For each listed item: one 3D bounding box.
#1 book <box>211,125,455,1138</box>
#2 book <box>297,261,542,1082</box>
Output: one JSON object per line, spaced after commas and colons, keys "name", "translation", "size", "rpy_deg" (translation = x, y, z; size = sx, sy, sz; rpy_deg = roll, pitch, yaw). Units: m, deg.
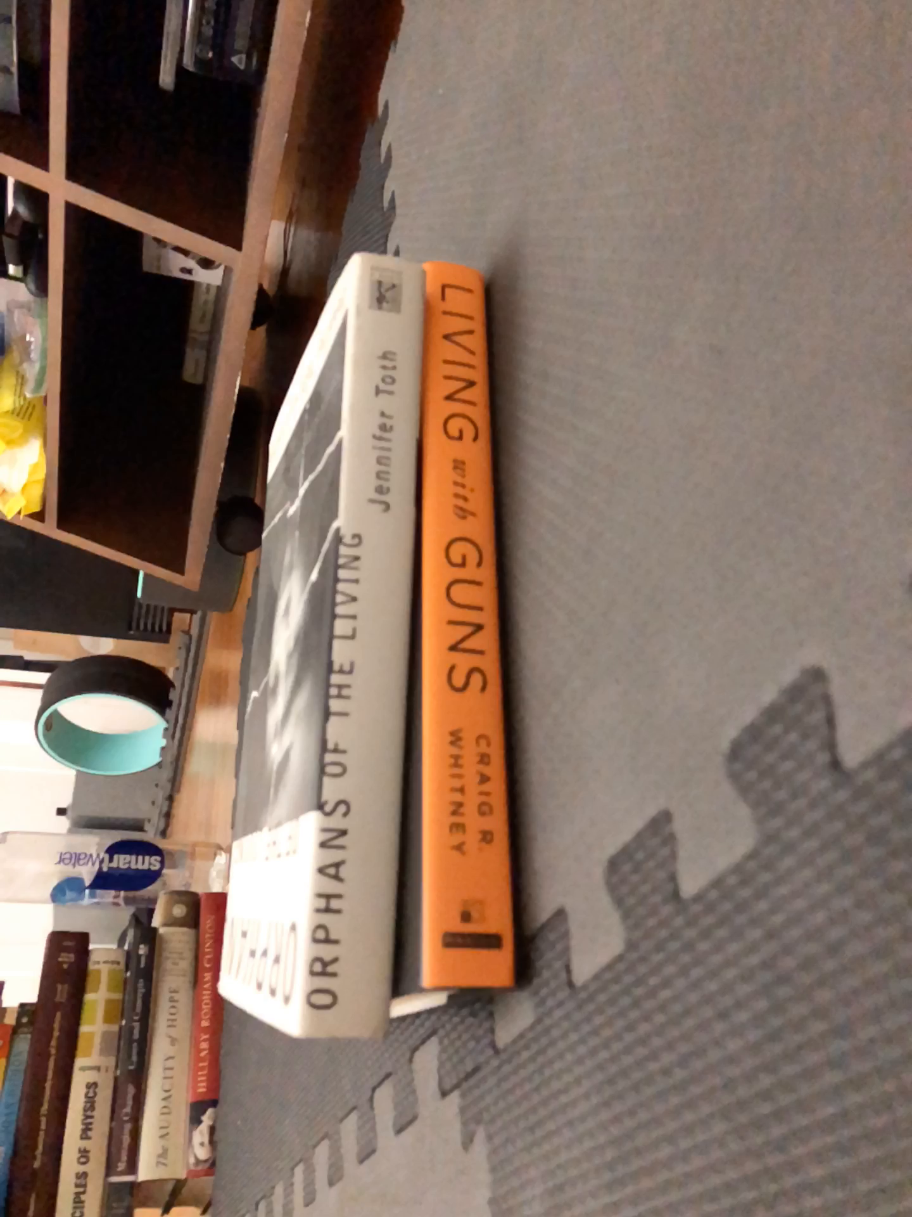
{"name": "book", "translation": [-0.048, 0.011, 0.353], "size": [0.180, 0.030, 0.280], "rpy_deg": [139, 136, -66]}
{"name": "book", "translation": [-0.021, 0.029, 0.359], "size": [0.160, 0.030, 0.250], "rpy_deg": [126, 148, -58]}
